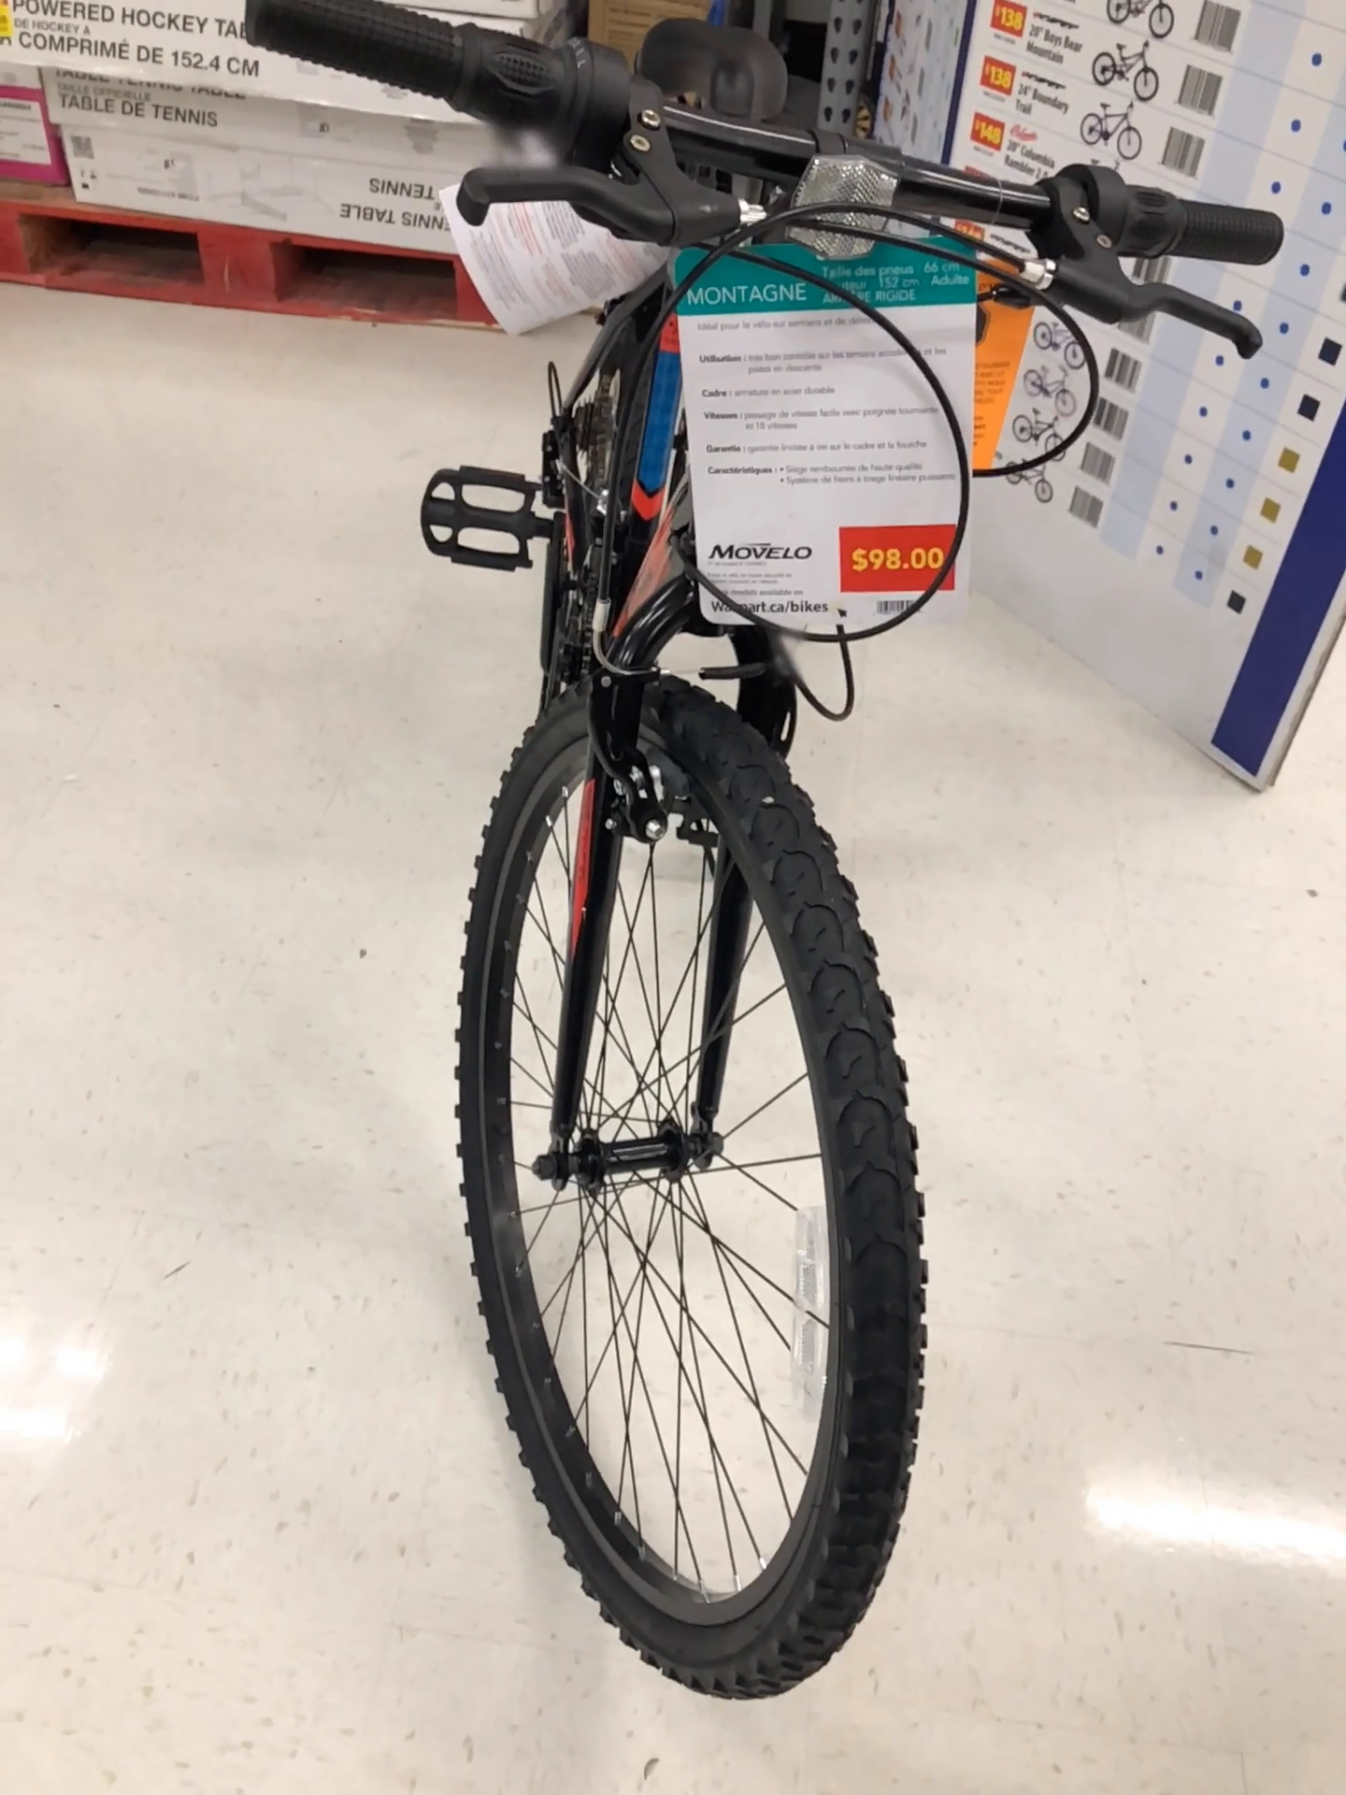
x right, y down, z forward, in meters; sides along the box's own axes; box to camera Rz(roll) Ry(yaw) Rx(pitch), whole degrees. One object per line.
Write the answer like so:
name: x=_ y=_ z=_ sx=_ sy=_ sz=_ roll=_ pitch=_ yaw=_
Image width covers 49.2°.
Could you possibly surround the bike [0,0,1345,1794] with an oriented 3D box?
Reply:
bike: x=0.003 y=-0.204 z=1.079 sx=0.559 sy=0.942 sz=1.293 roll=0 pitch=43 yaw=-4
